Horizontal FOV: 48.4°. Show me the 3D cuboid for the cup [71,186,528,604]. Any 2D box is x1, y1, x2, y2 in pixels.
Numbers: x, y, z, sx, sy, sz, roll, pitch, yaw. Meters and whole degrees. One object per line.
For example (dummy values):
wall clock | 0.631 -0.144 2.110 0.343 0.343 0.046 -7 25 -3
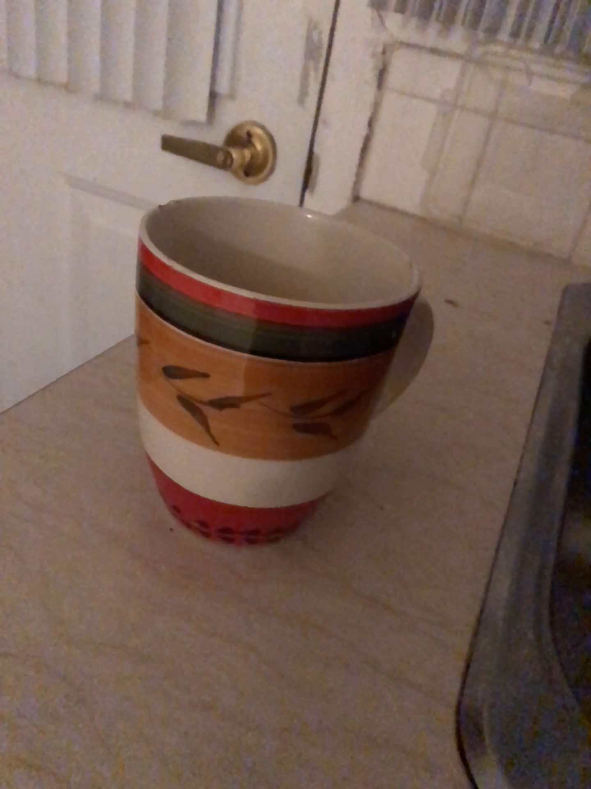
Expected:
cup | -0.003 -0.014 0.274 0.143 0.109 0.100 -16 41 -38
